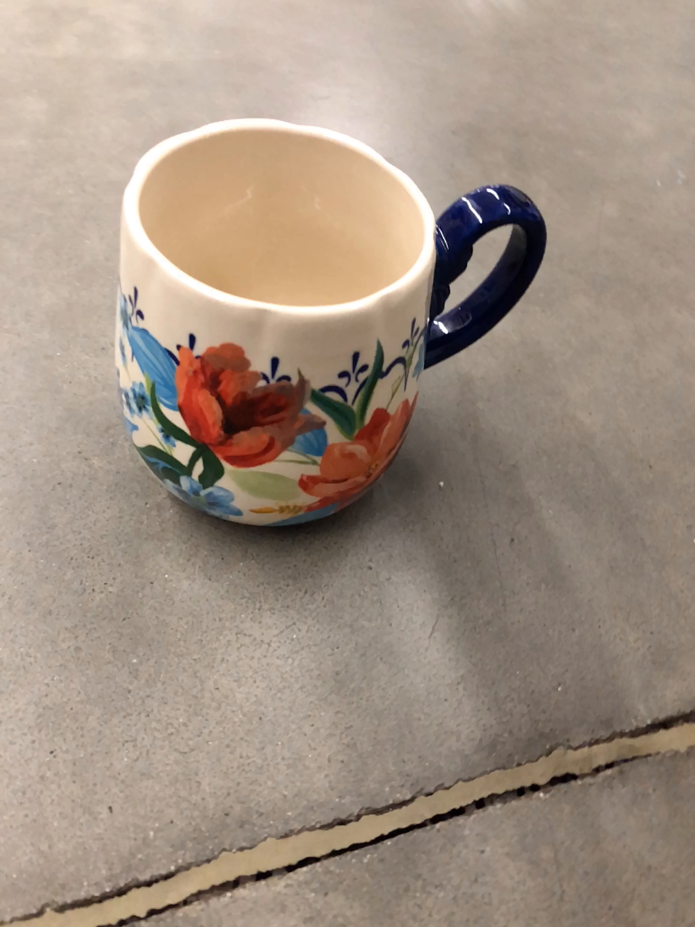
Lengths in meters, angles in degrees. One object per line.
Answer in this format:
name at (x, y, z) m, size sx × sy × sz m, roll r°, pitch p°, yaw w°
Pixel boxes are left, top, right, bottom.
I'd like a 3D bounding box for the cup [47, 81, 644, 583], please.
cup at (-0.009, -0.046, 0.253) m, size 0.140 × 0.100 × 0.100 m, roll -14°, pitch 59°, yaw -19°
